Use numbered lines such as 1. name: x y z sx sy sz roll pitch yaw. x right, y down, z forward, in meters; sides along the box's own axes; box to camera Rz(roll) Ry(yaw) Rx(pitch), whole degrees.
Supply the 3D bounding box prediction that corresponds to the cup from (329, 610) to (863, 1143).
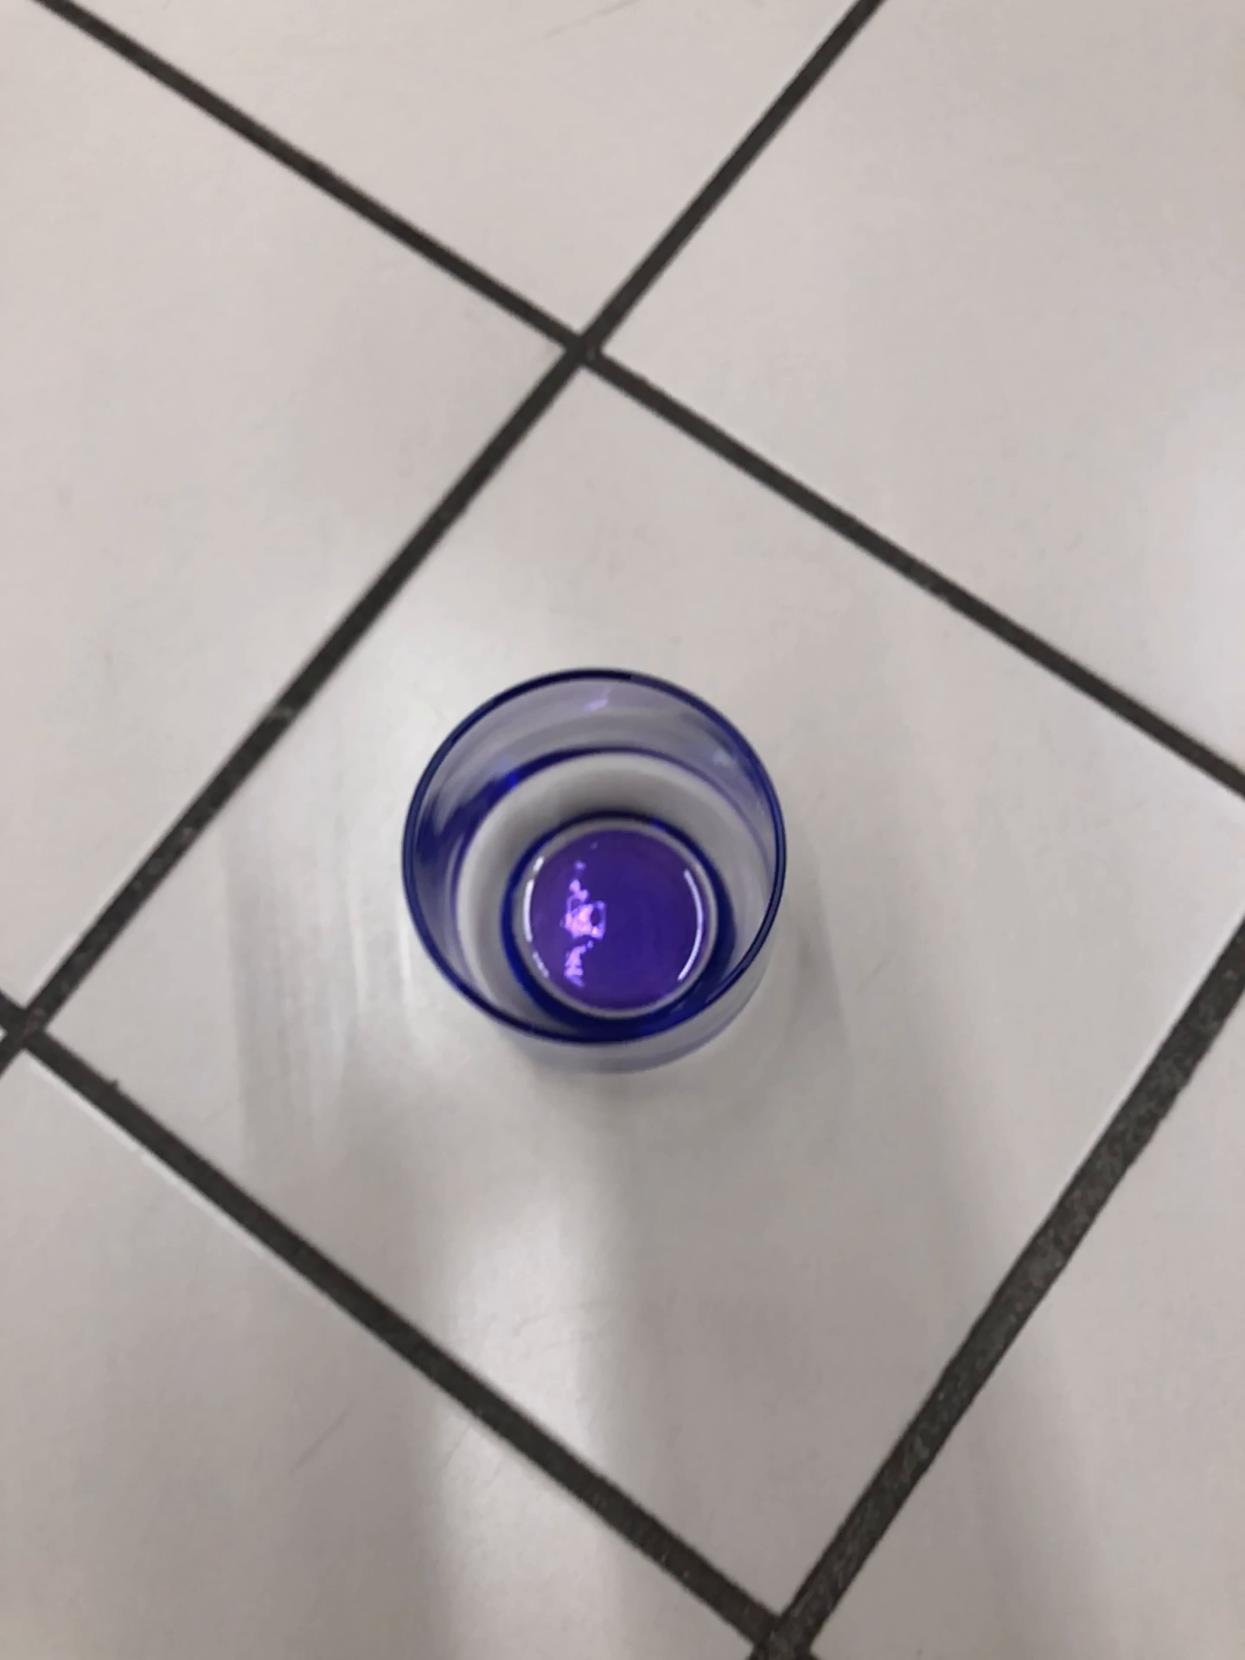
1. cup: -0.004 0.013 0.264 0.069 0.063 0.070 0 77 2
